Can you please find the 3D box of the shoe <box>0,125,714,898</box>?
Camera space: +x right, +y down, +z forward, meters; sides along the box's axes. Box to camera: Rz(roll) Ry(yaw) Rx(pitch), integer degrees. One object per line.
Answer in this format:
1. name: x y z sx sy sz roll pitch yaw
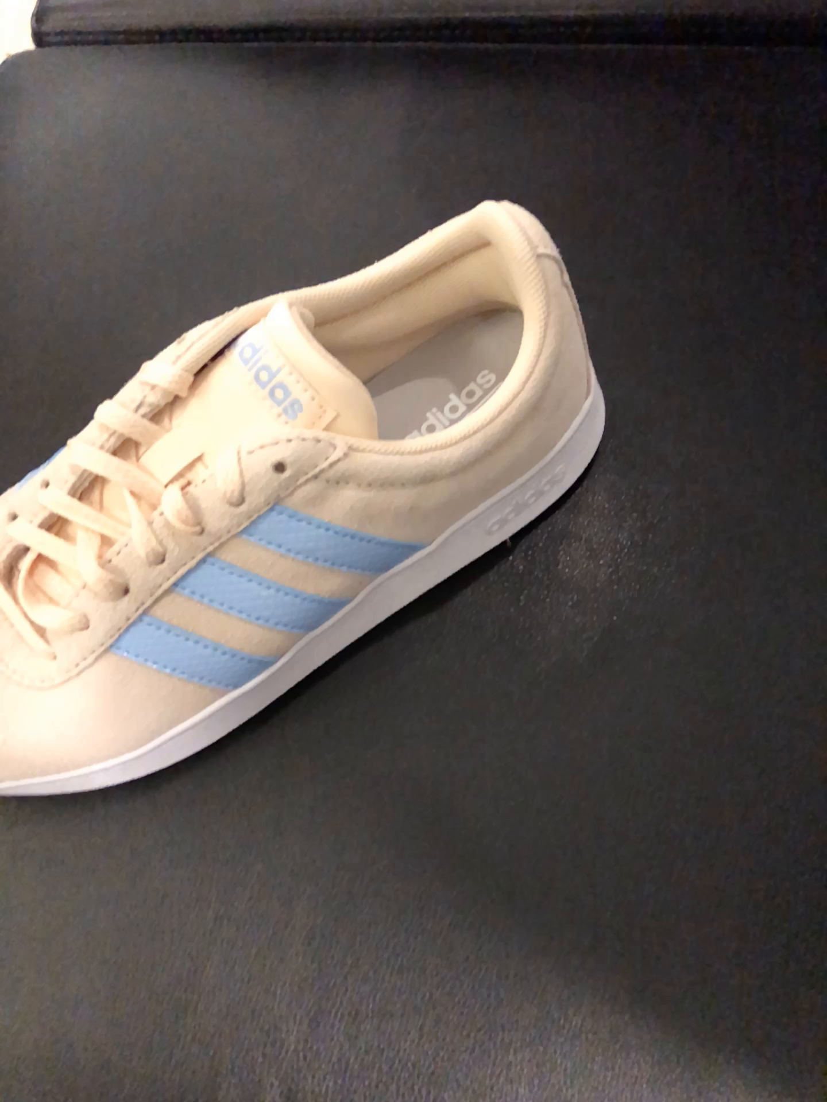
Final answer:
1. shoe: -0.055 -0.012 0.285 0.260 0.090 0.100 -29 68 -9
